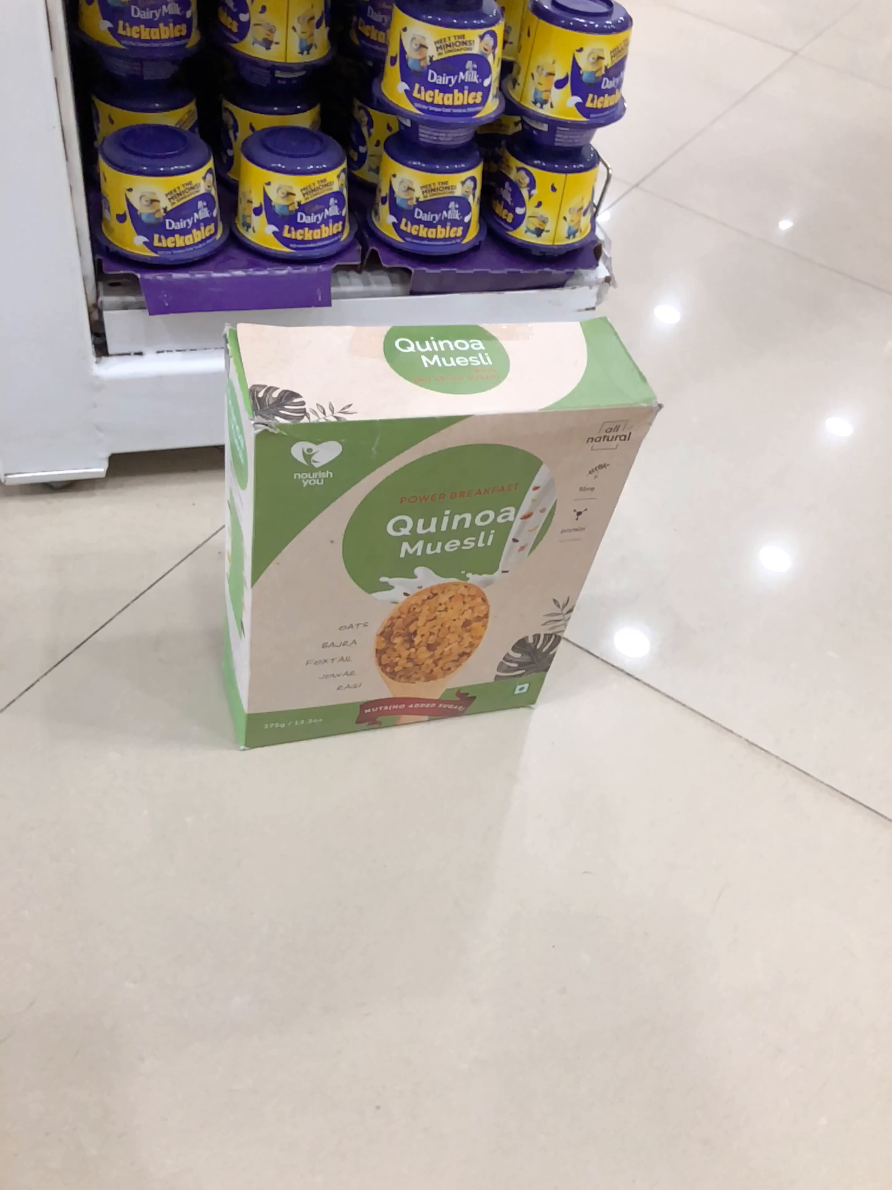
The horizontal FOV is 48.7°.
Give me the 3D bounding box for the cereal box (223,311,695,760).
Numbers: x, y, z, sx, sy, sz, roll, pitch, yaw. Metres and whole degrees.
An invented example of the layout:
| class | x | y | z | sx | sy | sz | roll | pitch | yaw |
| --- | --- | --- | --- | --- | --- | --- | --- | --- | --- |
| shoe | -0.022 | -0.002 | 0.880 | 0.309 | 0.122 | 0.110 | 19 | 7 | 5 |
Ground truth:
| class | x | y | z | sx | sy | sz | roll | pitch | yaw |
| --- | --- | --- | --- | --- | --- | --- | --- | --- | --- |
| cereal box | -0.009 | -0.020 | 0.419 | 0.160 | 0.189 | 0.060 | -7 | 50 | -18 |
